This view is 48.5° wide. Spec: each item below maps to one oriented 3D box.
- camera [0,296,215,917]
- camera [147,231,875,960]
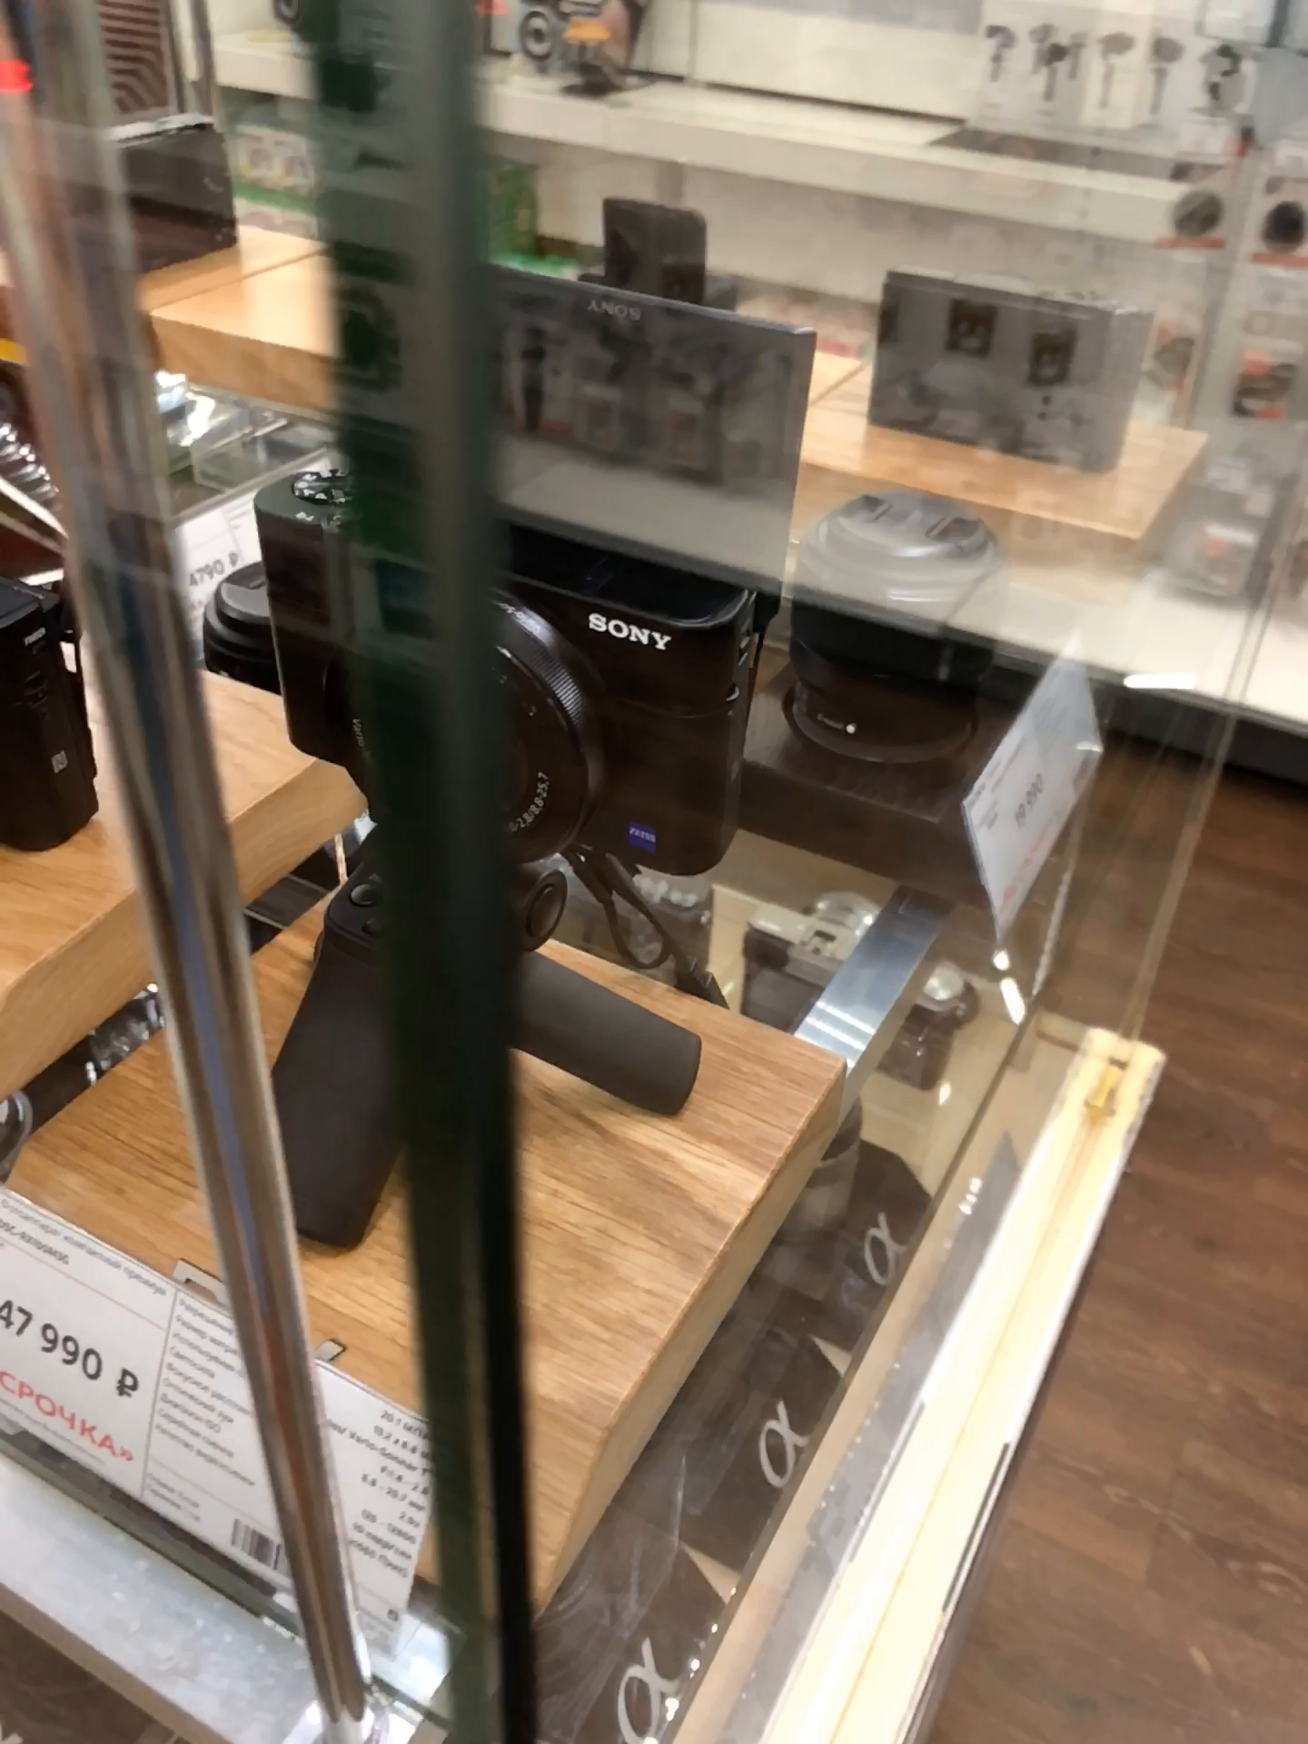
[{"bbox_3d":[-0.173,-0.065,0.334,0.108,0.097,0.070,21,40,22],"label":"camera"},{"bbox_3d":[-0.026,-0.056,0.278,0.108,0.097,0.063,21,40,22],"label":"camera"}]
